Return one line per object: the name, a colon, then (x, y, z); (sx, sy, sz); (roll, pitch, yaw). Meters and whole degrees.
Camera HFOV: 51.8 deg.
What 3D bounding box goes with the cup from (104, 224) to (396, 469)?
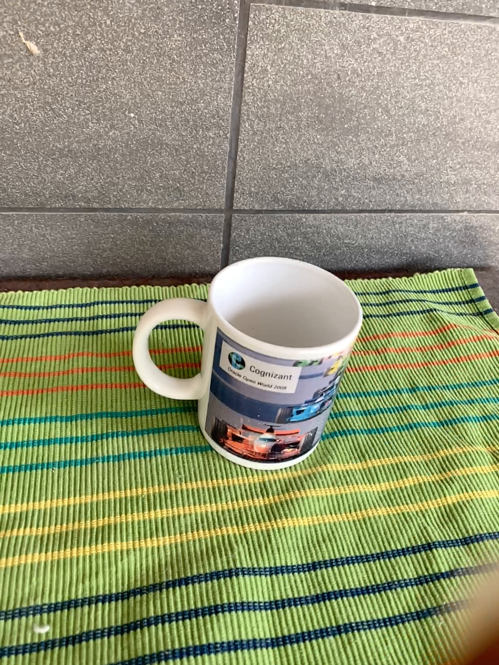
cup: (-0.006, 0.010, 0.289); (0.130, 0.100, 0.080); (5, 40, -7)
